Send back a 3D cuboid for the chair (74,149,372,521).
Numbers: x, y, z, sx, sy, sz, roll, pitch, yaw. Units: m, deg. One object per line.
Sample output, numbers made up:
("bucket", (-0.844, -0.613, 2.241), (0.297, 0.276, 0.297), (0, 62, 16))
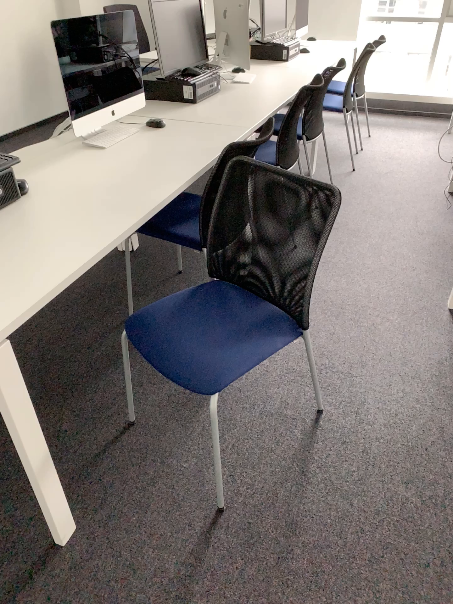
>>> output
("chair", (-0.005, 0.077, 1.504), (0.602, 0.895, 0.541), (-30, 45, -35))
